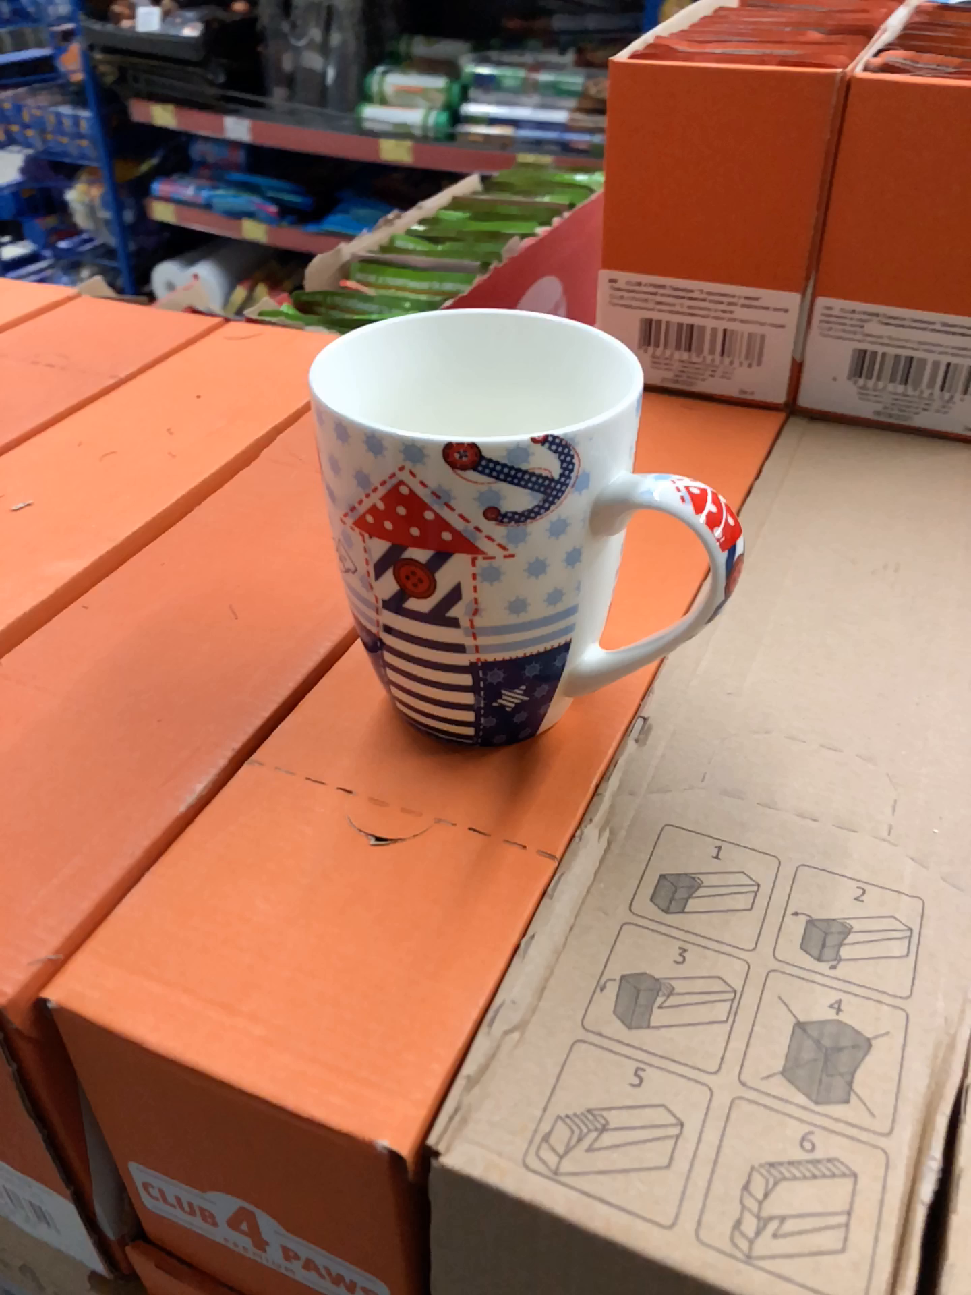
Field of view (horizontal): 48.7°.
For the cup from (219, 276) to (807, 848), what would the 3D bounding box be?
[{"bbox_3d":[0.007,-0.030,0.285,0.113,0.092,0.086,24,43,28],"label":"cup"}]
